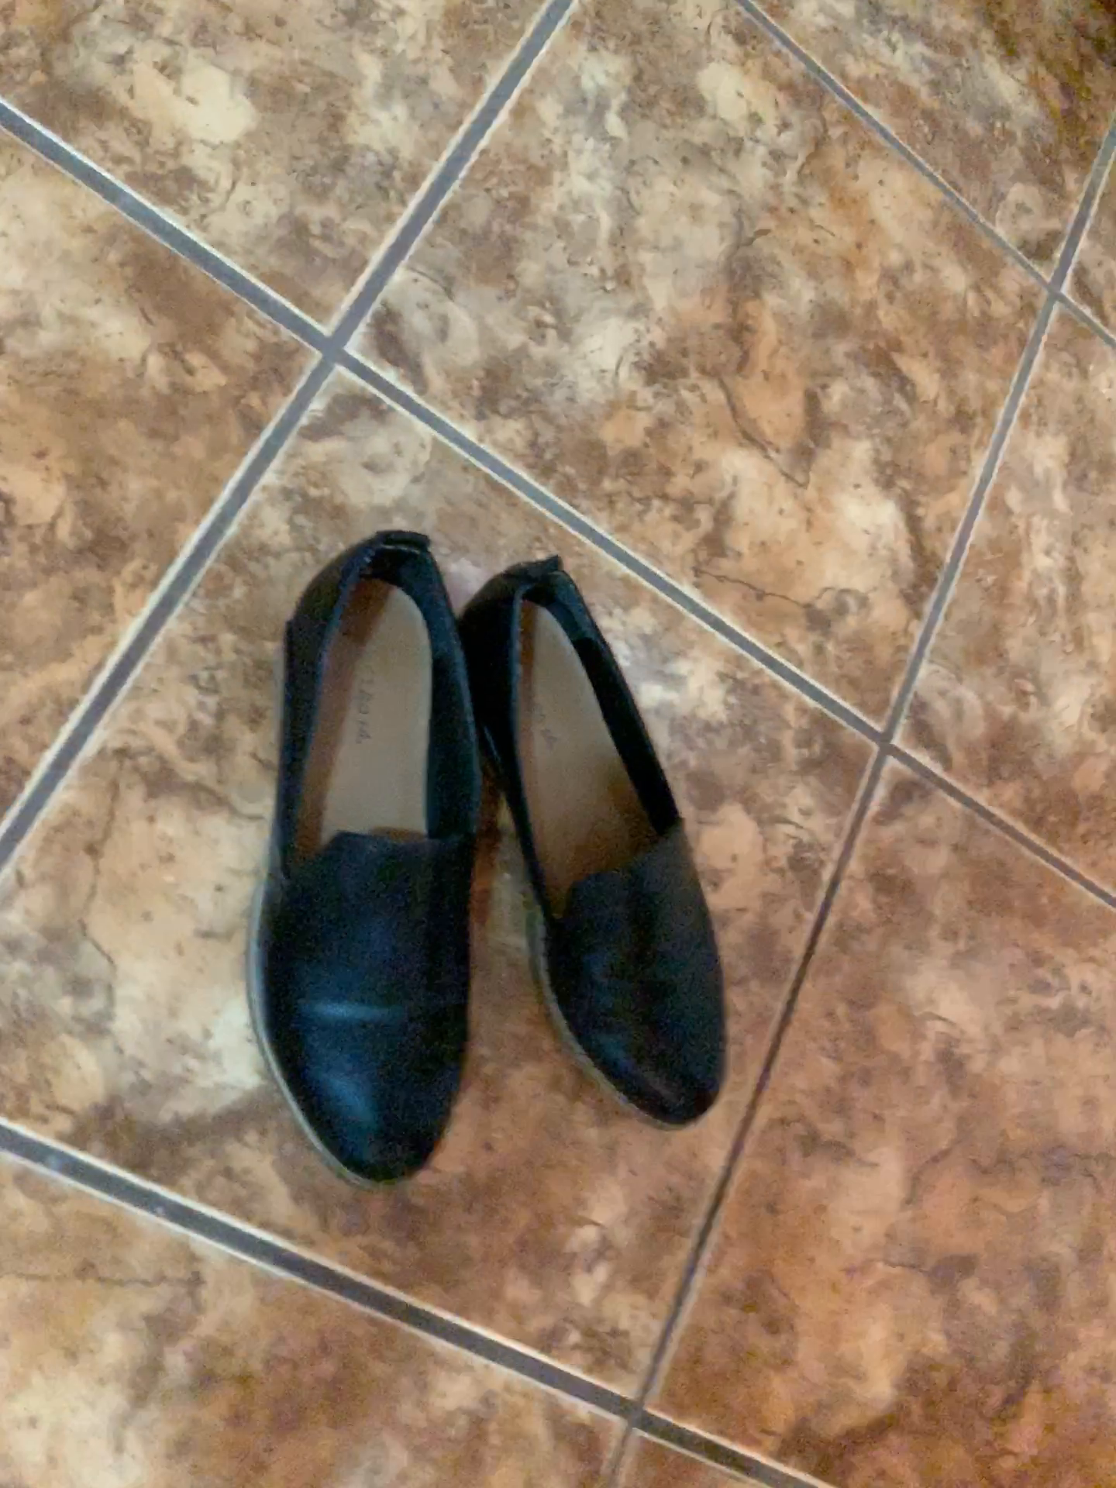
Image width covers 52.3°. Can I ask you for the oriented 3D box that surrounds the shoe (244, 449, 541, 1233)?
[{"bbox_3d":[-0.065,0.031,0.419,0.086,0.070,0.255,2,79,-25],"label":"shoe"}]

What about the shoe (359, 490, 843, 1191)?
[{"bbox_3d":[0.015,0.037,0.467,0.088,0.070,0.255,-22,90,-28],"label":"shoe"}]
